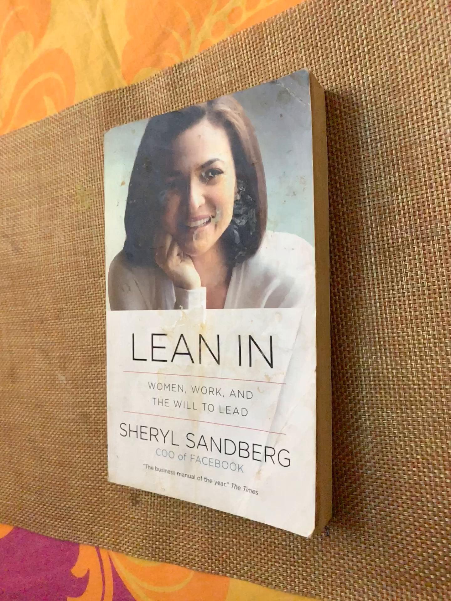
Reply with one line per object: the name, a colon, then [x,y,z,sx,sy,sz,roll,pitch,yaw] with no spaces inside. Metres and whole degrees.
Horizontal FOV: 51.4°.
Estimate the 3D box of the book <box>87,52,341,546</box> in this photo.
book: [-0.015,0.000,0.250,0.141,0.026,0.212,-4,86,33]
